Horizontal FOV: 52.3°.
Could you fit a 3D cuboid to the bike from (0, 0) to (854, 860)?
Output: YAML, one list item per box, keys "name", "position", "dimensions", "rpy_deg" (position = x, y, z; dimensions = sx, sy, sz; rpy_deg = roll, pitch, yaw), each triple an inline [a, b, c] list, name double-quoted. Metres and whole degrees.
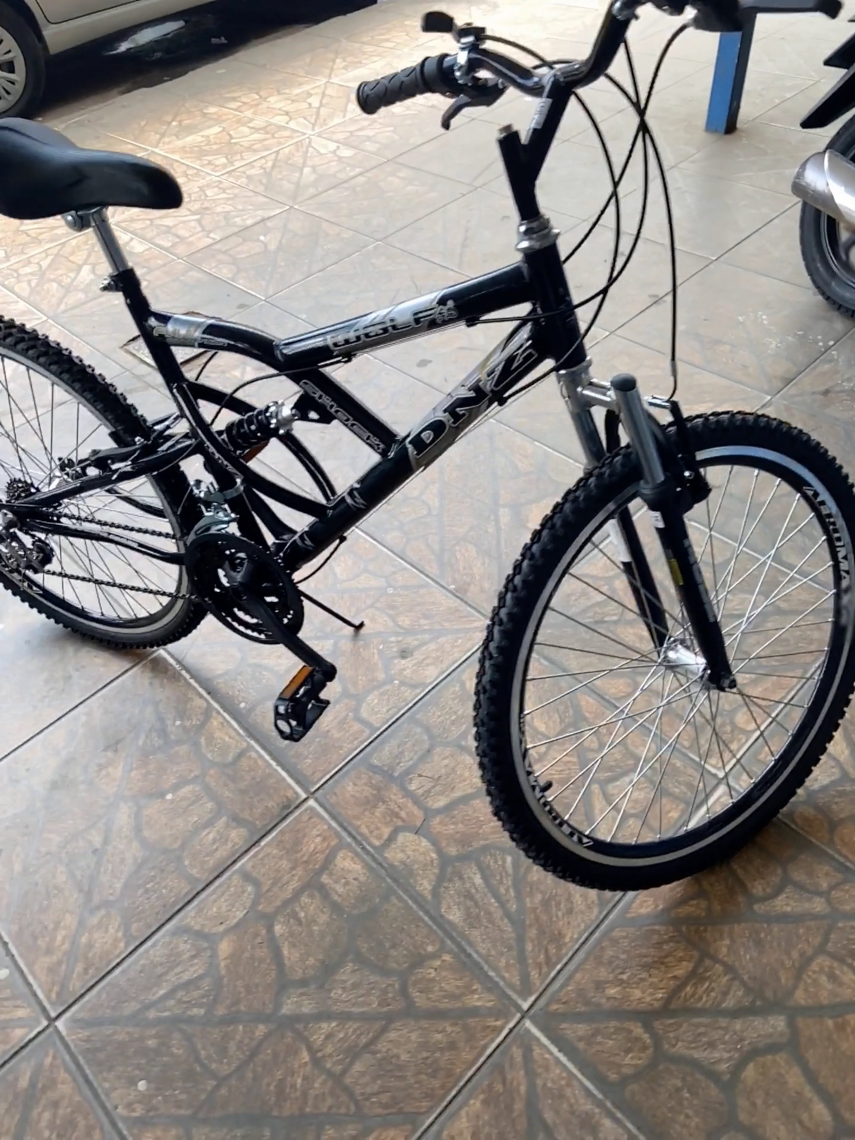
- name: "bike"
  position: [-0.217, -0.275, 1.172]
  dimensions: [1.585, 1.154, 0.606]
  rpy_deg: [6, 48, 17]
